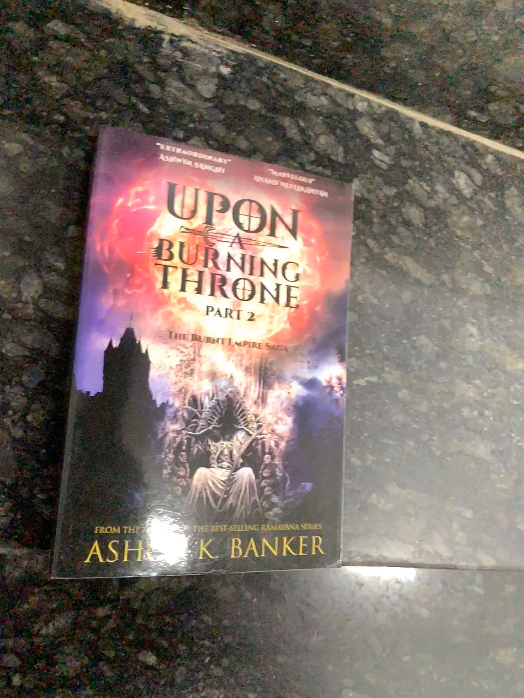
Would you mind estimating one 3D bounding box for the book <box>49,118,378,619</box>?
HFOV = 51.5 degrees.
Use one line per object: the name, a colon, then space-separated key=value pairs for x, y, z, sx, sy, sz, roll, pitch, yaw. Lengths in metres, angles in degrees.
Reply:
book: x=-0.014 y=0.009 z=0.255 sx=0.140 sy=0.030 sz=0.200 roll=6 pitch=80 yaw=-21
